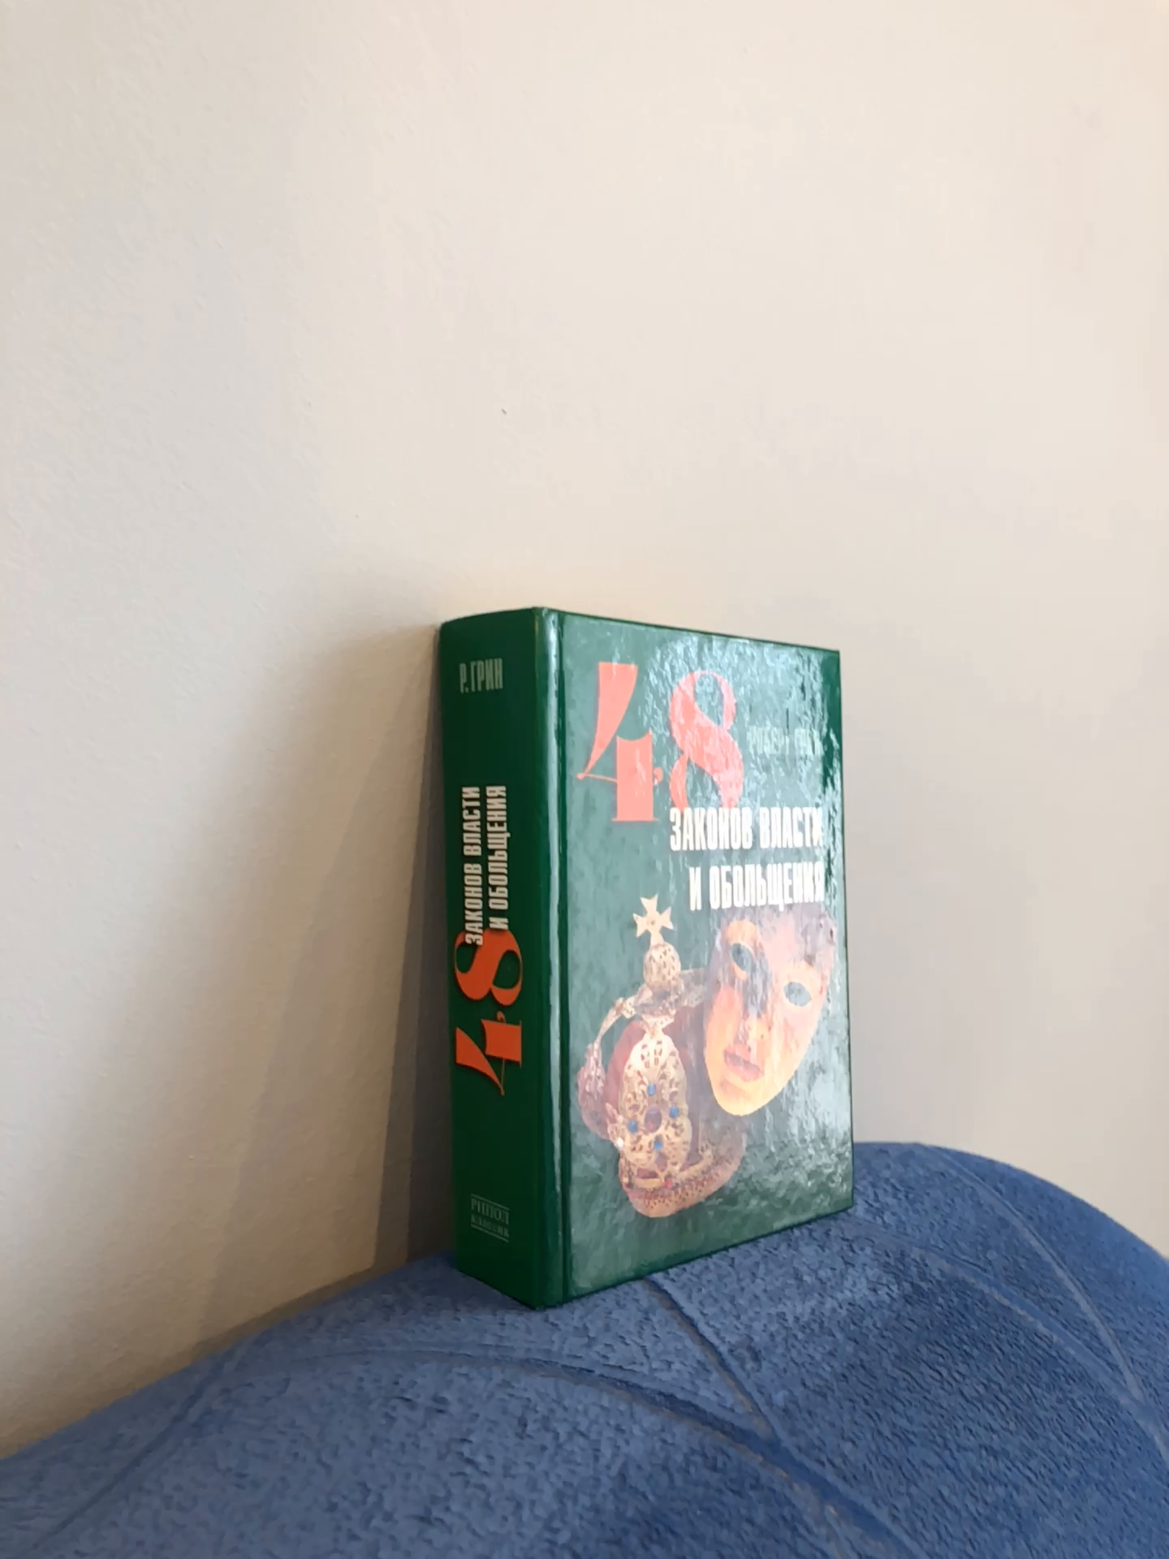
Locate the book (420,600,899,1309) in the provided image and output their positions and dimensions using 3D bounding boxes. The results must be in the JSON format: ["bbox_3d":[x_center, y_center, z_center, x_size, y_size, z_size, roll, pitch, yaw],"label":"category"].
[{"bbox_3d":[0.020,0.035,0.312,0.107,0.141,0.050,0,-2,-39],"label":"book"}]
